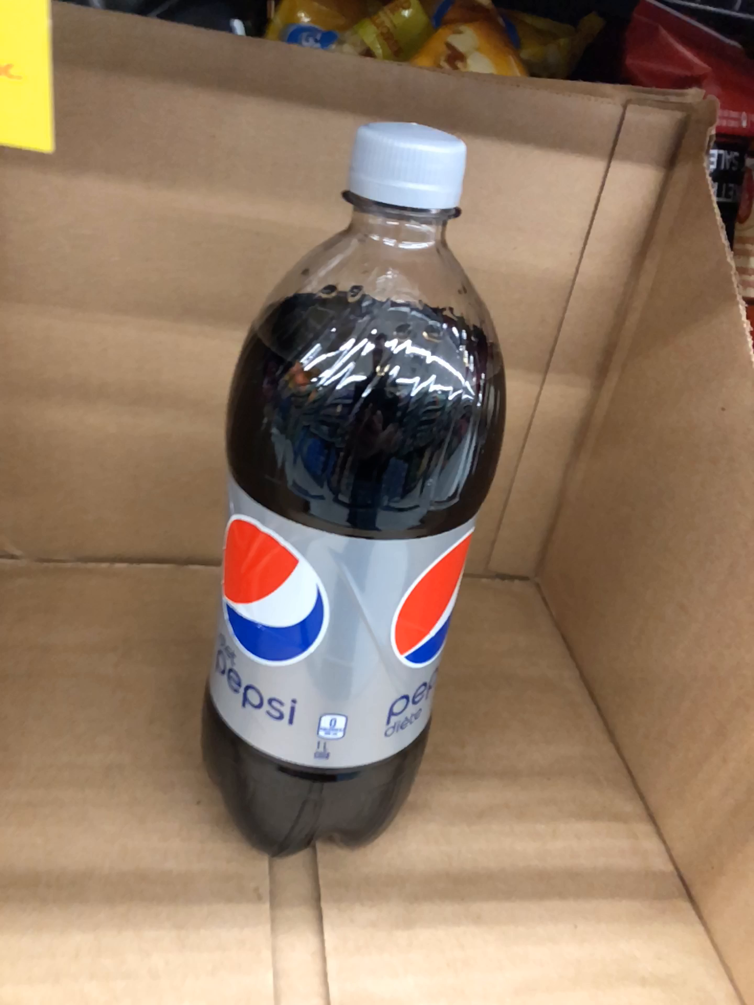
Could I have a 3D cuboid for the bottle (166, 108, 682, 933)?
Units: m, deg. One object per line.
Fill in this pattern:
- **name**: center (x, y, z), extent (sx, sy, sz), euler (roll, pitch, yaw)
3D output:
- **bottle**: center (-0.001, 0.011, 0.258), extent (0.080, 0.228, 0.090), euler (33, 39, 31)
